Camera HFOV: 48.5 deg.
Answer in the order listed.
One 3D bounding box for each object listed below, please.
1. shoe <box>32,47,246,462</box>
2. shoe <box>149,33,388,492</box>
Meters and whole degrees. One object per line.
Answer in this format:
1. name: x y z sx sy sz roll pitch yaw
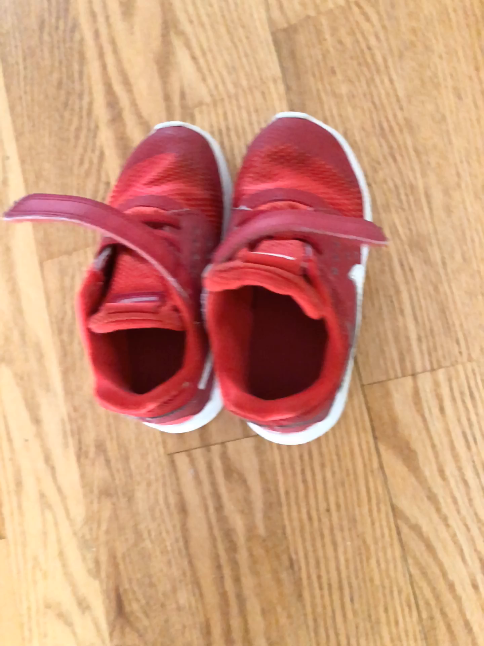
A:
1. shoe: -0.048 -0.027 0.267 0.081 0.069 0.175 -3 86 13
2. shoe: 0.017 -0.025 0.250 0.088 0.069 0.177 3 87 14
